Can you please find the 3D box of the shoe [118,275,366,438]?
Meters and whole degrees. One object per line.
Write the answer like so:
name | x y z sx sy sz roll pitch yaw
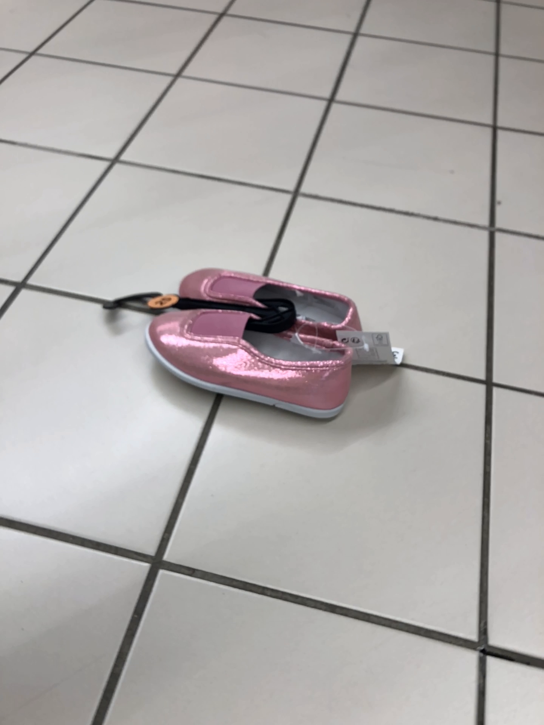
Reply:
shoe | -0.020 -0.007 0.452 0.163 0.050 0.070 14 51 9

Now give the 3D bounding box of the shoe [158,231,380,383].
shoe | -0.003 -0.047 0.487 0.161 0.051 0.059 19 52 13
